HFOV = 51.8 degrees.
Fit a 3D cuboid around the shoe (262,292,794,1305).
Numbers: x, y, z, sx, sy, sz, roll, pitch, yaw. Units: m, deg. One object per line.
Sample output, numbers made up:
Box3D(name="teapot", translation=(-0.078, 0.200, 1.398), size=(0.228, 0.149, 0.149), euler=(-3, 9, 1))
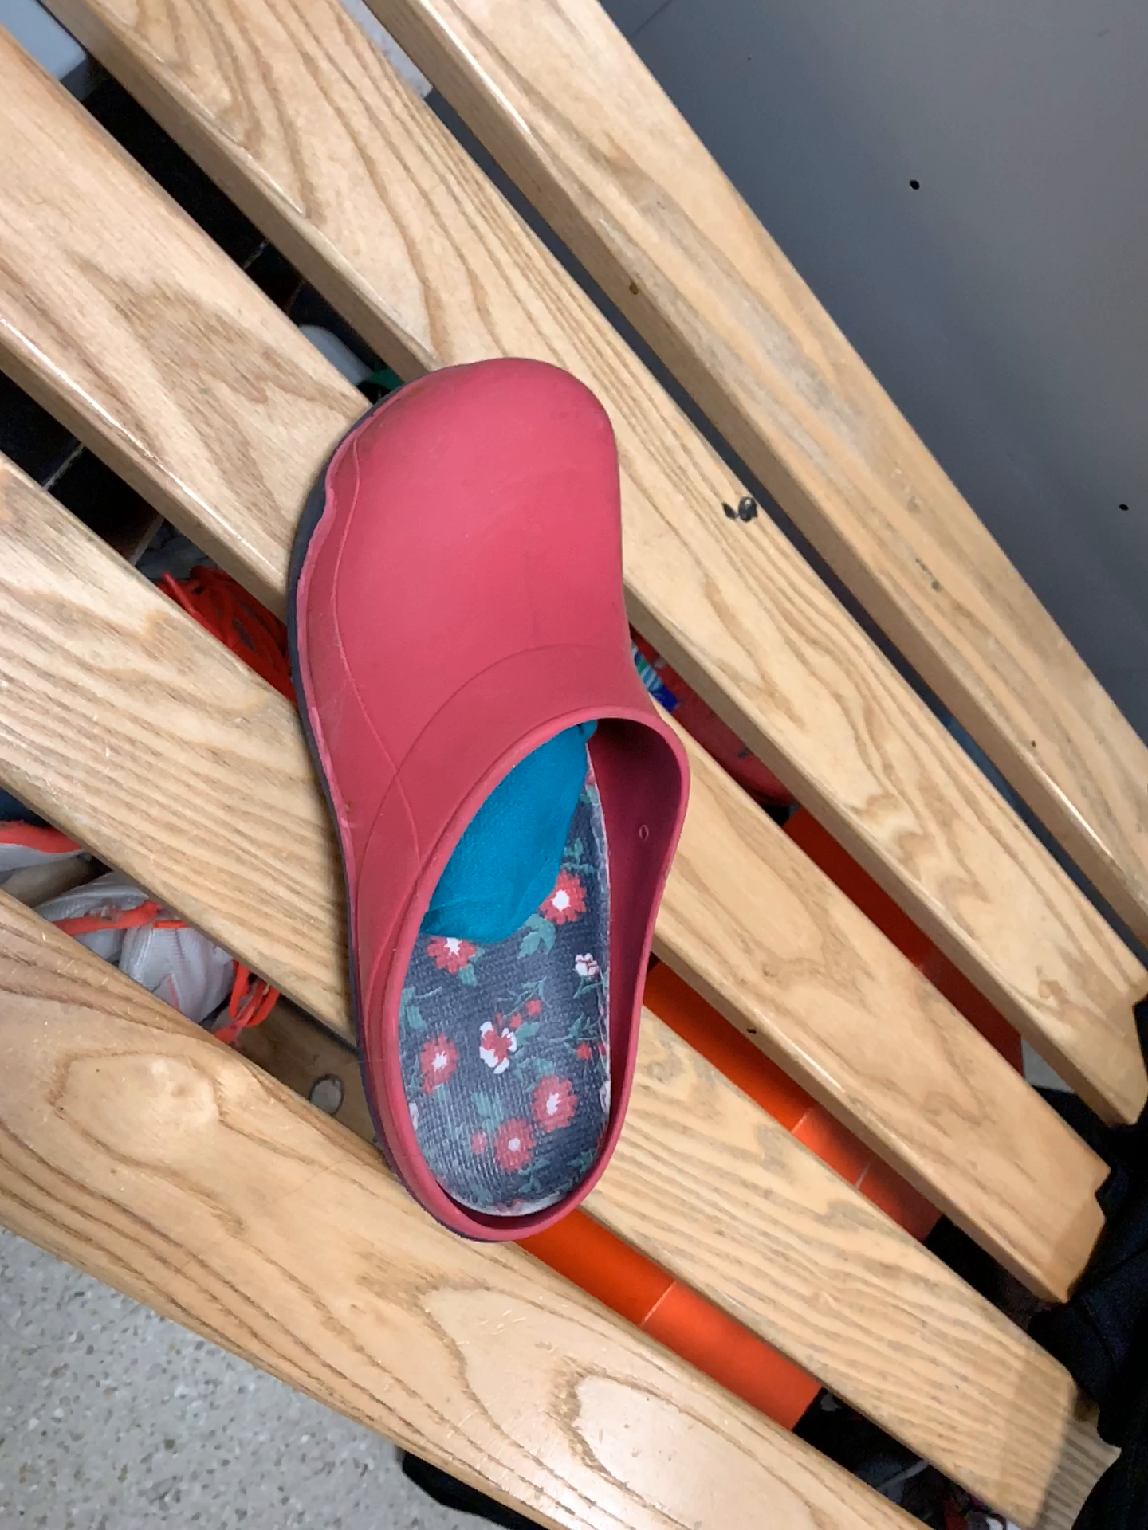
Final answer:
Box3D(name="shoe", translation=(-0.014, 0.005, 0.338), size=(0.107, 0.077, 0.238), euler=(-6, 90, -33))
